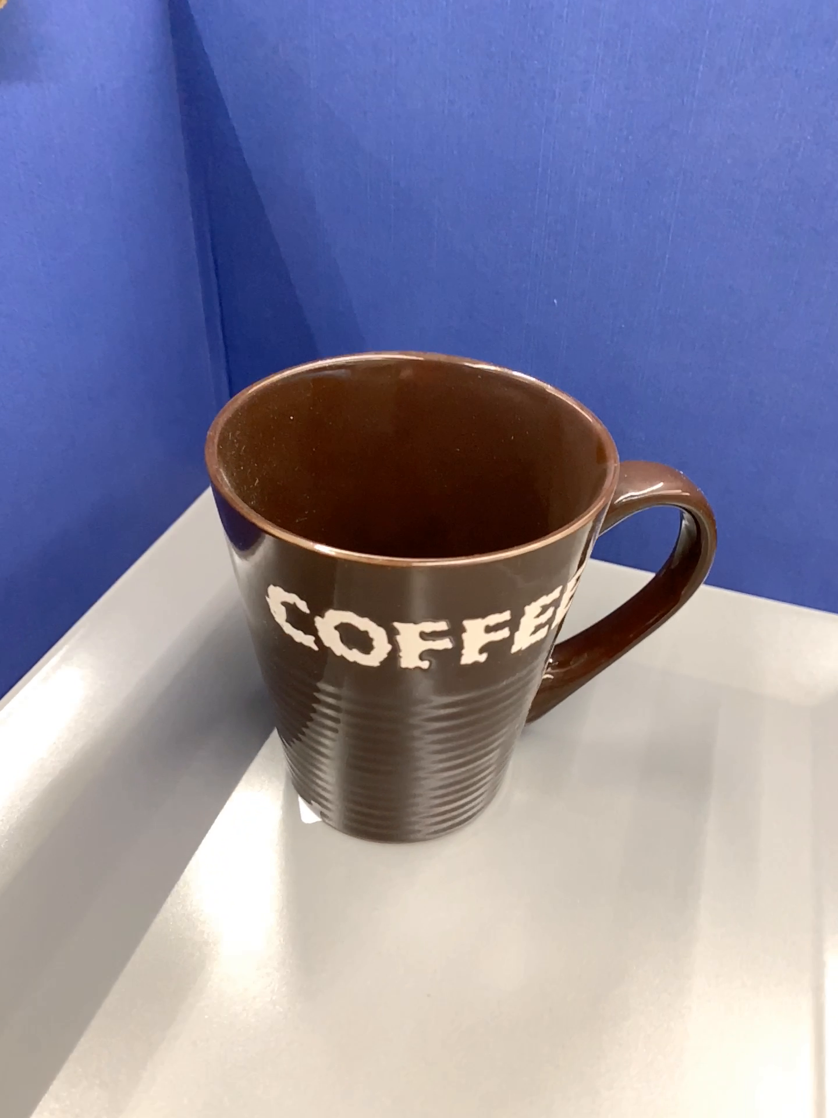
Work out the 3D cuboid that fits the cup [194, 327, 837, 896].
[{"bbox_3d":[0.014,0.008,0.229,0.128,0.098,0.090,-7,38,-13],"label":"cup"}]
